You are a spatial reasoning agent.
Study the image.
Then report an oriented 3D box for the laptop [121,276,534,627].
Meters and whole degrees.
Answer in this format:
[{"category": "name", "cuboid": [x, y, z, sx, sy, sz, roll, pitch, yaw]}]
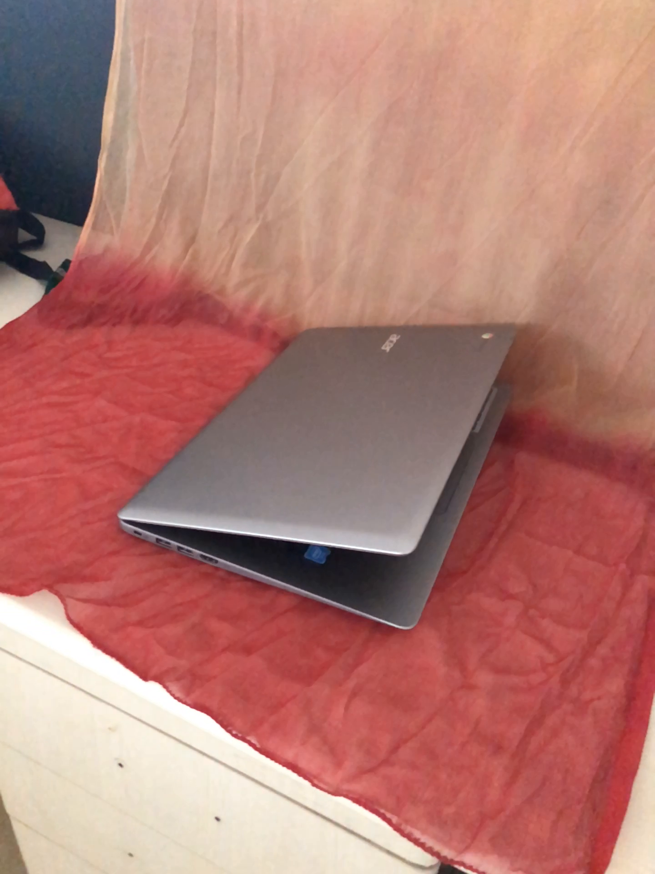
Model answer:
[{"category": "laptop", "cuboid": [0.023, -0.021, 0.590, 0.219, 0.065, 0.324, 16, 38, 17]}]
